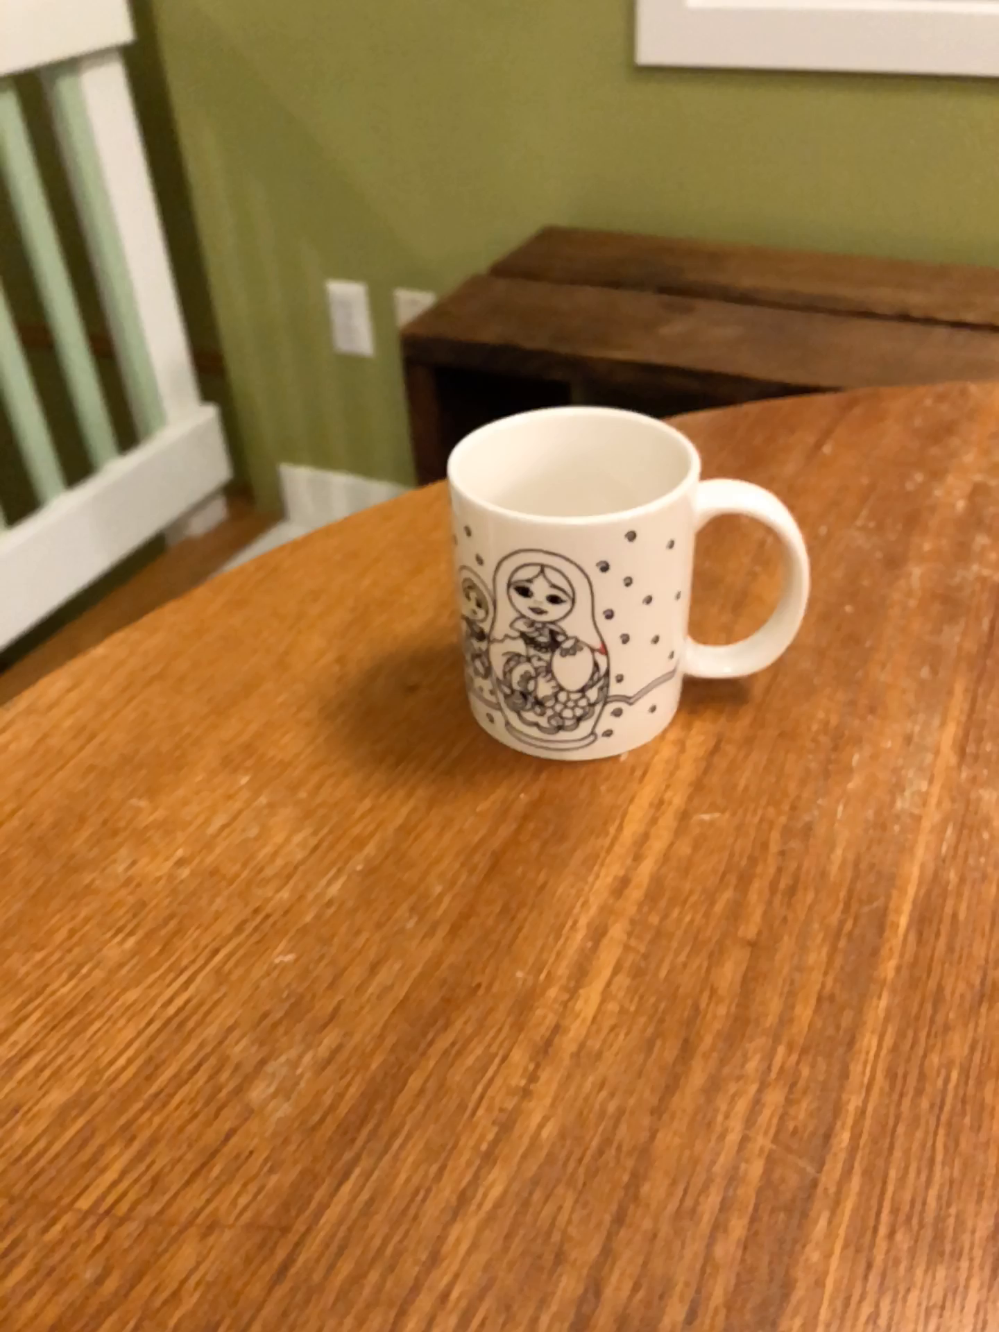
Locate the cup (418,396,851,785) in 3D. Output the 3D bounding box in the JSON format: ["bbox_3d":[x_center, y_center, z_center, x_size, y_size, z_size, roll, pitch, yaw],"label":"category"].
[{"bbox_3d":[0.047,-0.029,0.390,0.126,0.099,0.088,3,37,9],"label":"cup"}]
